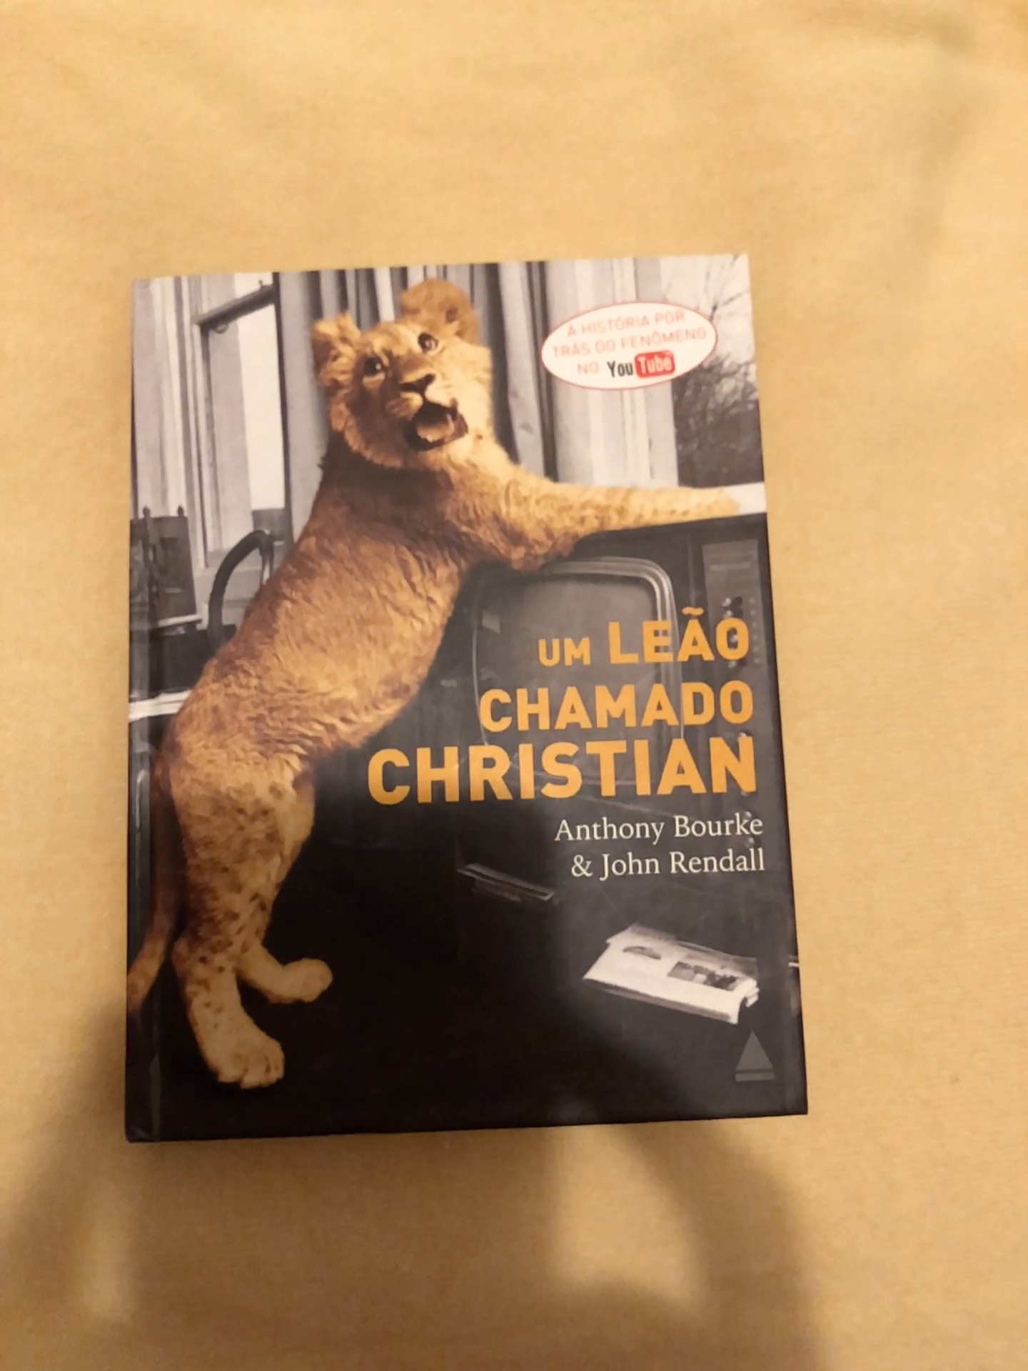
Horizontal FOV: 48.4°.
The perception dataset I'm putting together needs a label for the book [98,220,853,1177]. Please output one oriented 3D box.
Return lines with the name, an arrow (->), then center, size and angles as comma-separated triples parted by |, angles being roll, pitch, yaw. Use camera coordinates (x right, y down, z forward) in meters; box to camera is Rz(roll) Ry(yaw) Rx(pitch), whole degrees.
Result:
book -> -0.012, -0.001, 0.260 | 0.150, 0.030, 0.200 | -3, 79, 2
